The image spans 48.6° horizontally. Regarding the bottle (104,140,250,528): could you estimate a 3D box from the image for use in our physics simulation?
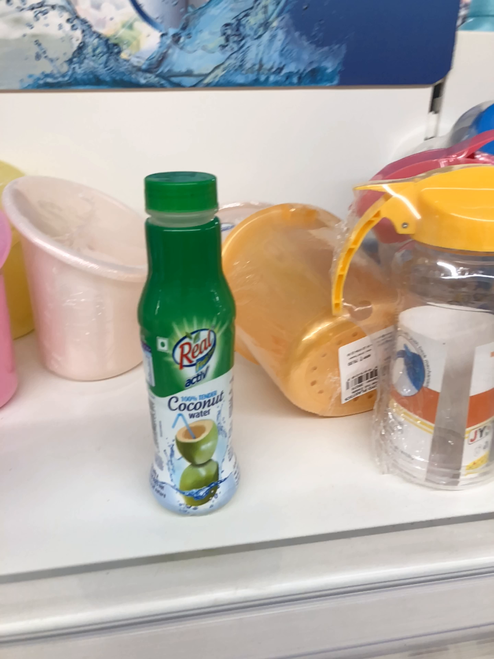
[{"bbox_3d":[-0.032,0.006,0.267,0.050,0.179,0.050,1,26,0],"label":"bottle"}]
